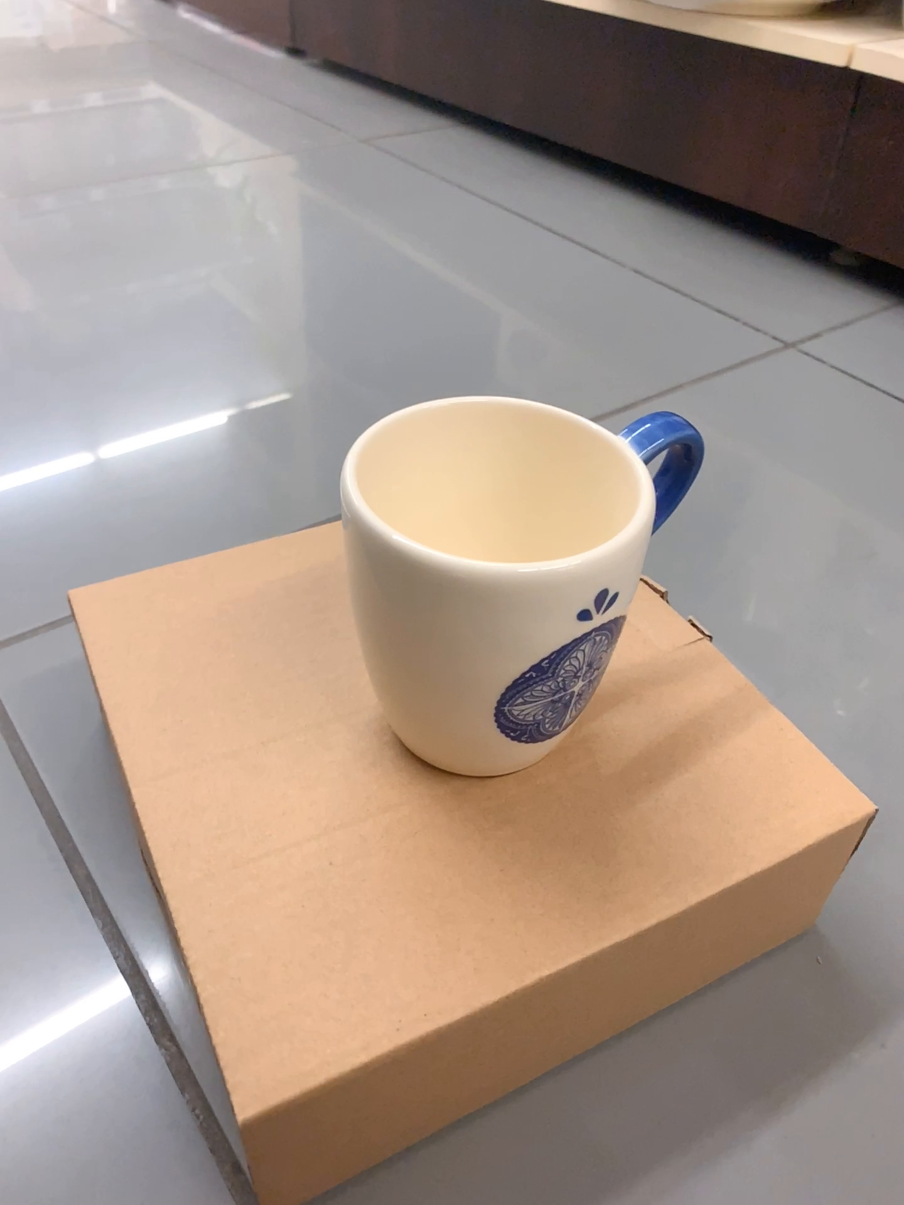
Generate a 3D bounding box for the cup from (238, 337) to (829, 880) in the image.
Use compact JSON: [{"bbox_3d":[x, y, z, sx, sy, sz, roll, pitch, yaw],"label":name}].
[{"bbox_3d":[0.023,-0.007,0.290,0.140,0.090,0.090,-24,48,-28],"label":"cup"}]
